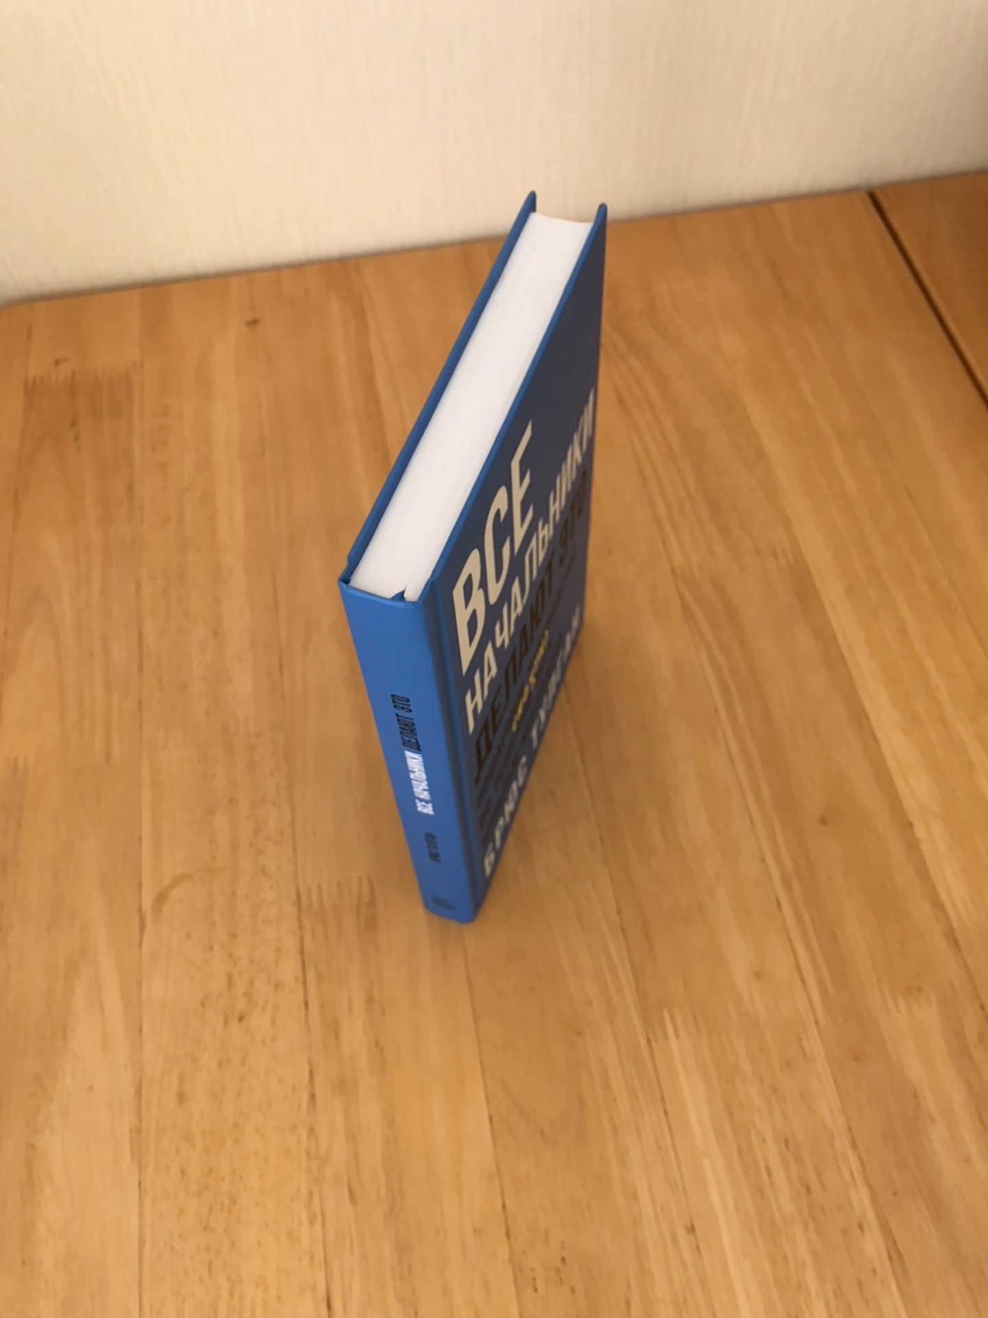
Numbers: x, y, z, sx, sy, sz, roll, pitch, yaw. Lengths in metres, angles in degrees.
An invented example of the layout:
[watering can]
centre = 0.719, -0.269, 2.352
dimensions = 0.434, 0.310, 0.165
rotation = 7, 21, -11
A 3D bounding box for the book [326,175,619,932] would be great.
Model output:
[book]
centre = 0.003, -0.018, 0.362
dimensions = 0.025, 0.208, 0.150
rotation = 15, 60, 12
